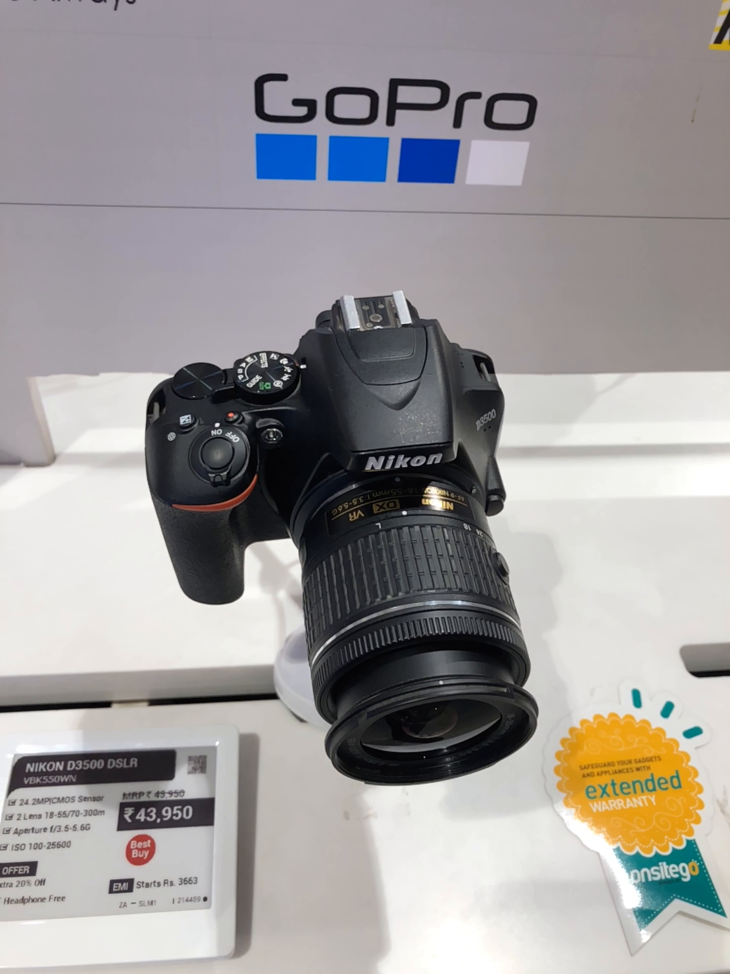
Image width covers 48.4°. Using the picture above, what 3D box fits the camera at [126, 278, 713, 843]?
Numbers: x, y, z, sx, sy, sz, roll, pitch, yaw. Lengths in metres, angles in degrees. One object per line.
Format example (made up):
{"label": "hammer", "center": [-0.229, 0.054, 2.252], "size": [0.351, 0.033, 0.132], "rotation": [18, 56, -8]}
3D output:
{"label": "camera", "center": [0.001, 0.015, 0.234], "size": [0.120, 0.089, 0.121], "rotation": [-5, 47, -10]}
